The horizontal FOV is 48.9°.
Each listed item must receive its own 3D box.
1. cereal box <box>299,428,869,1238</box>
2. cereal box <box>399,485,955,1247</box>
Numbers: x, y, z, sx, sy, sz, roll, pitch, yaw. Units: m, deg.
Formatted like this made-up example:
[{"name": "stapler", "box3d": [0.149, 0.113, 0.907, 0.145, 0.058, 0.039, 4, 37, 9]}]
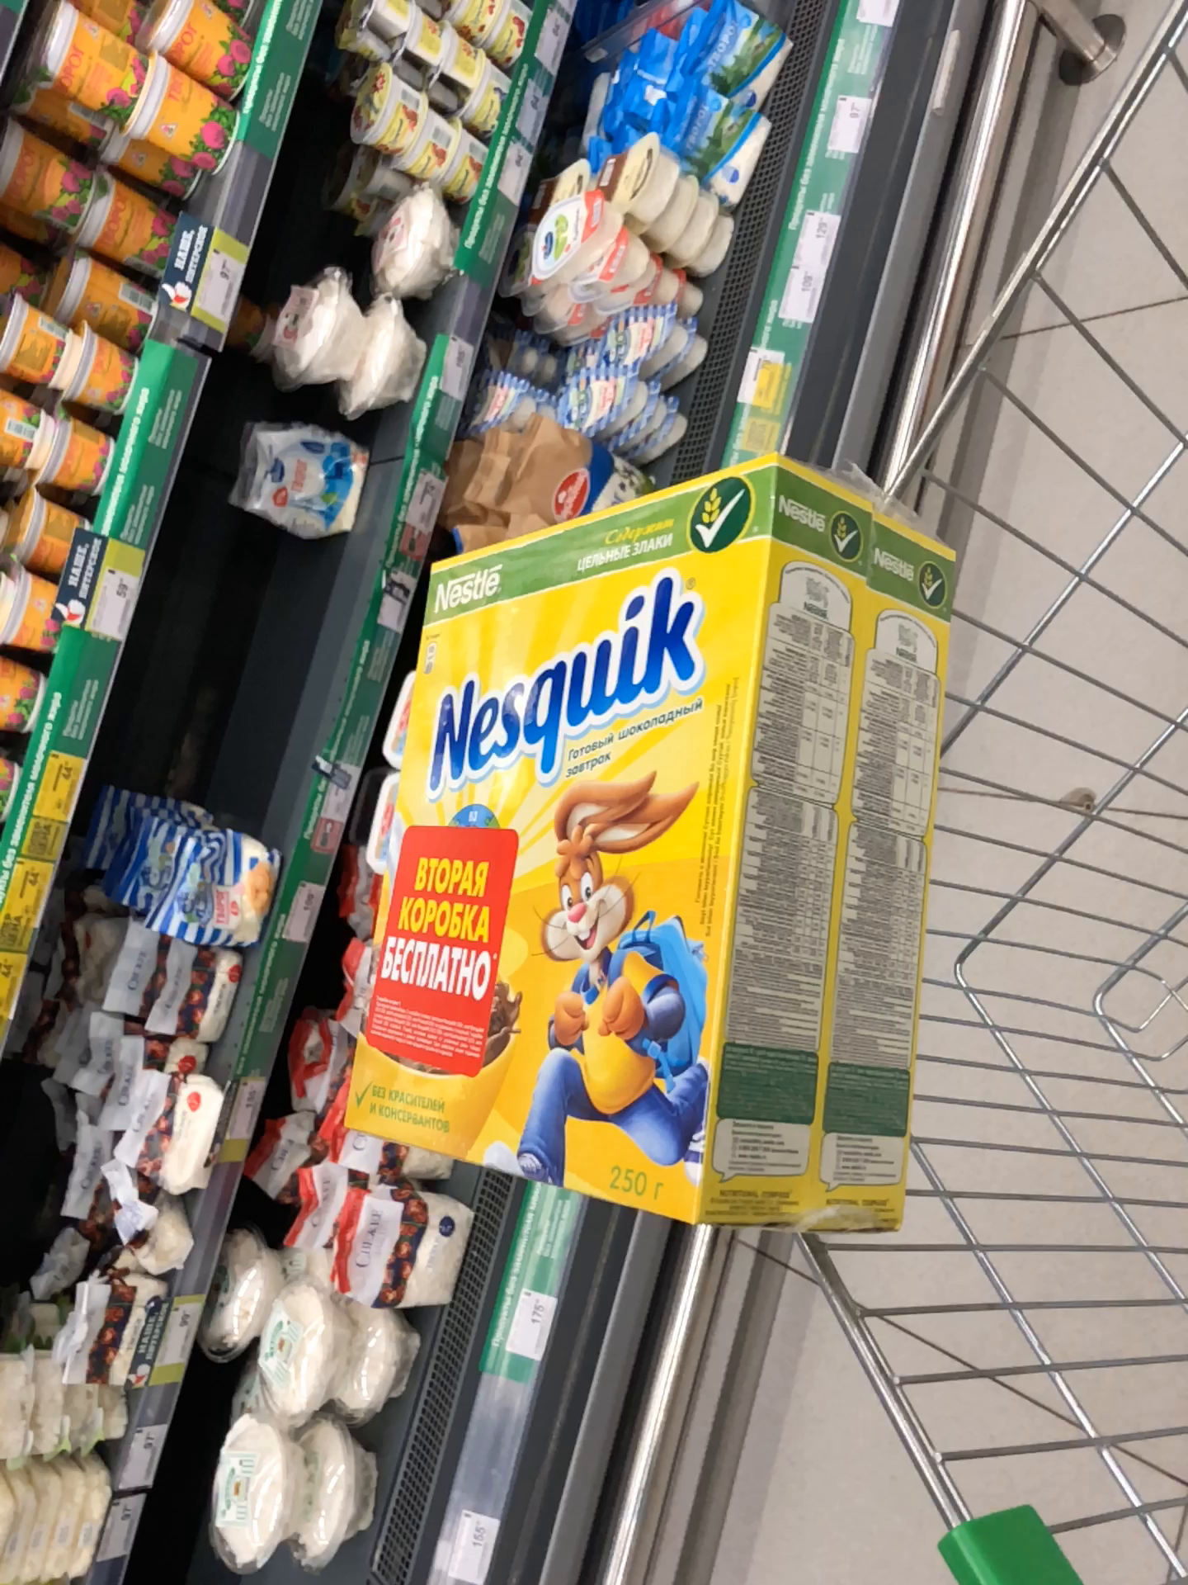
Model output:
[{"name": "cereal box", "box3d": [-0.013, 0.016, 0.475, 0.211, 0.050, 0.240, -5, 74, 49]}, {"name": "cereal box", "box3d": [0.023, 0.027, 0.501, 0.211, 0.050, 0.240, -5, 74, 49]}]
